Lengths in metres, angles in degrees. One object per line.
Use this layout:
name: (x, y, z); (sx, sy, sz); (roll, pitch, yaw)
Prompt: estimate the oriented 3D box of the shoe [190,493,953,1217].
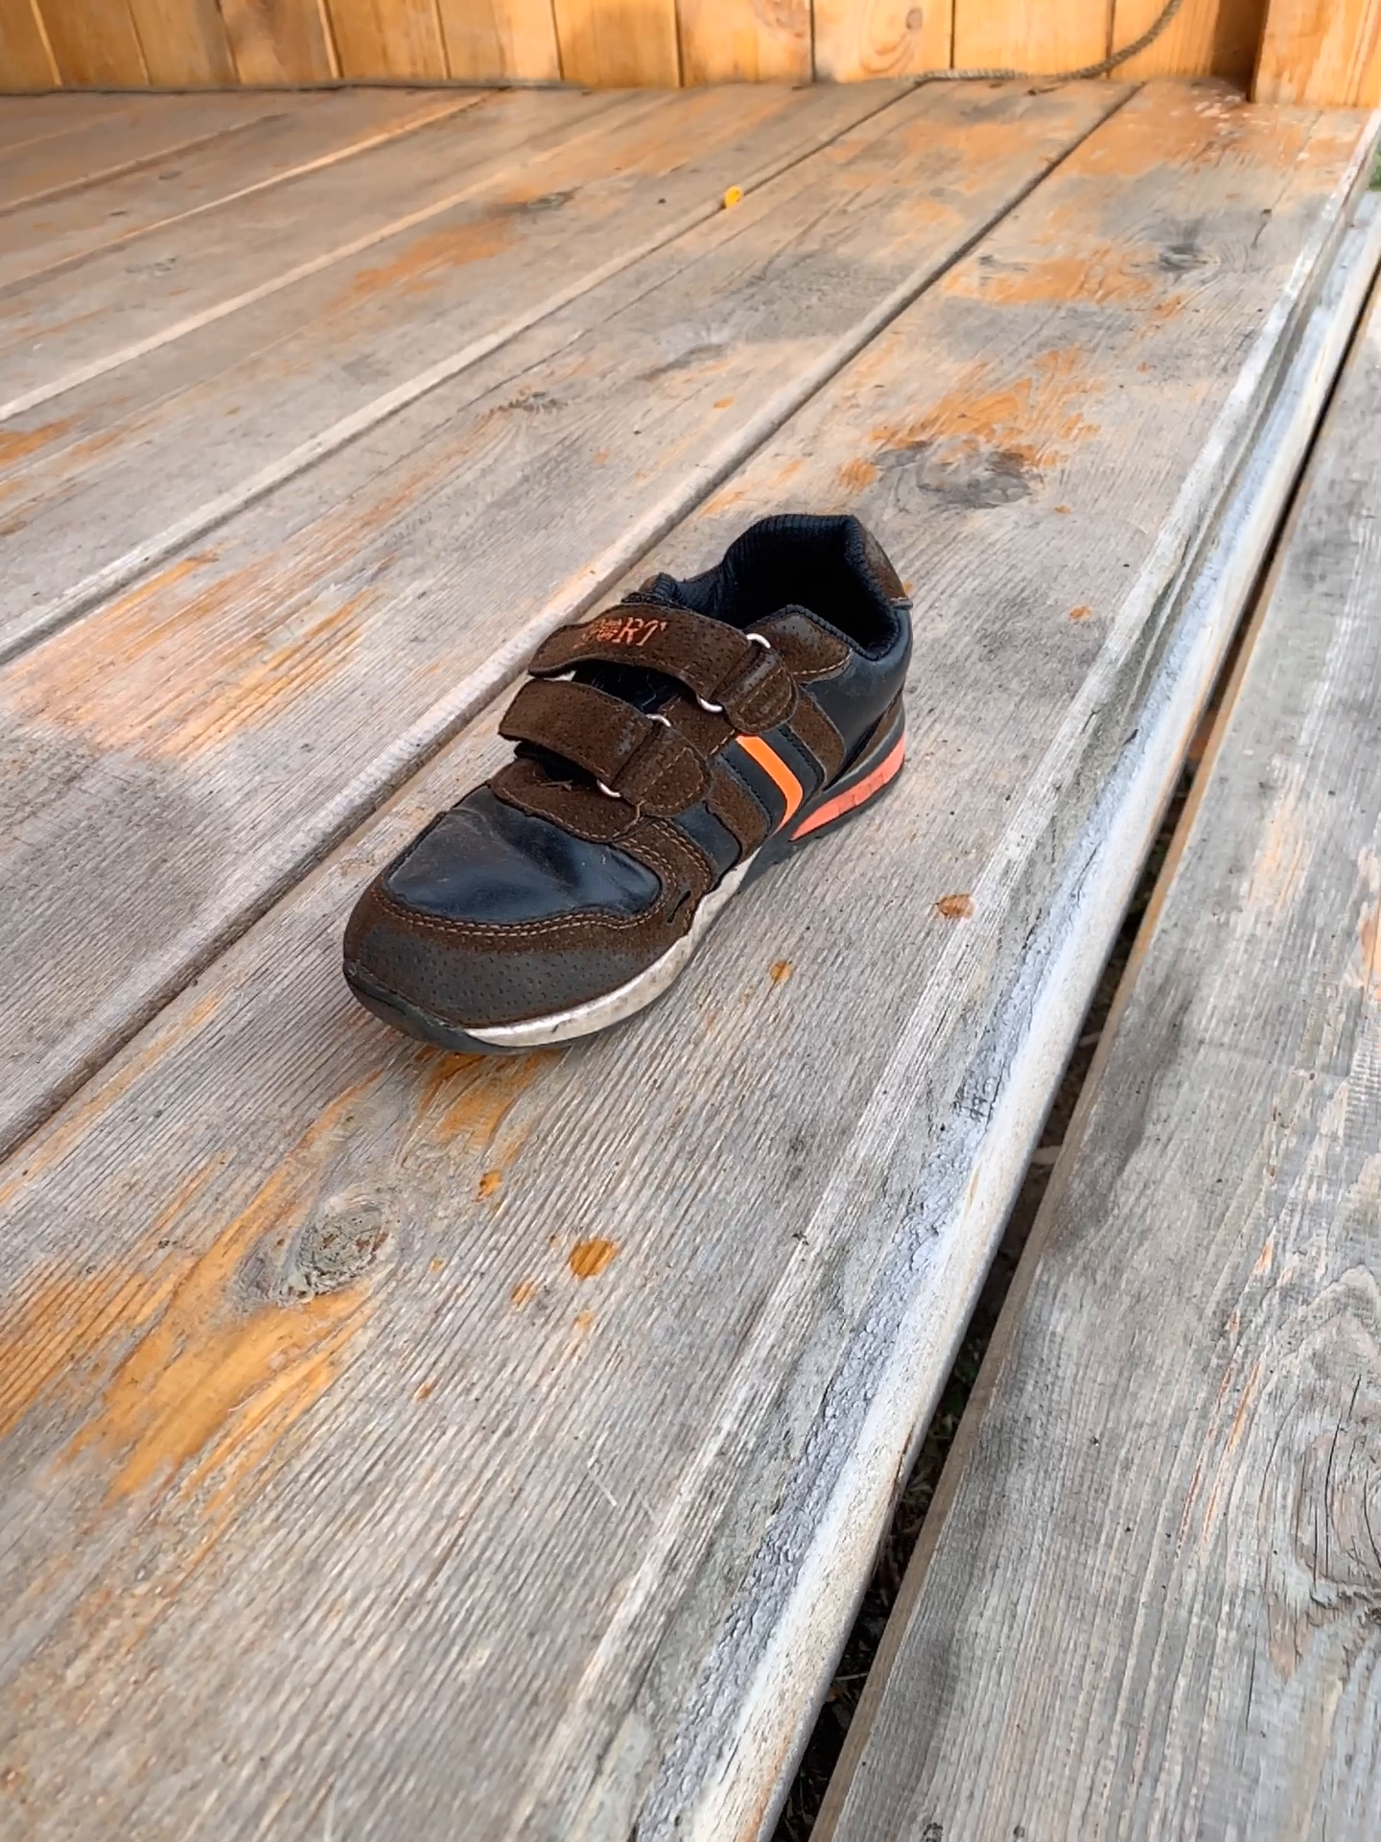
shoe: (-0.018, -0.031, 0.388); (0.090, 0.089, 0.191); (24, 47, 32)
